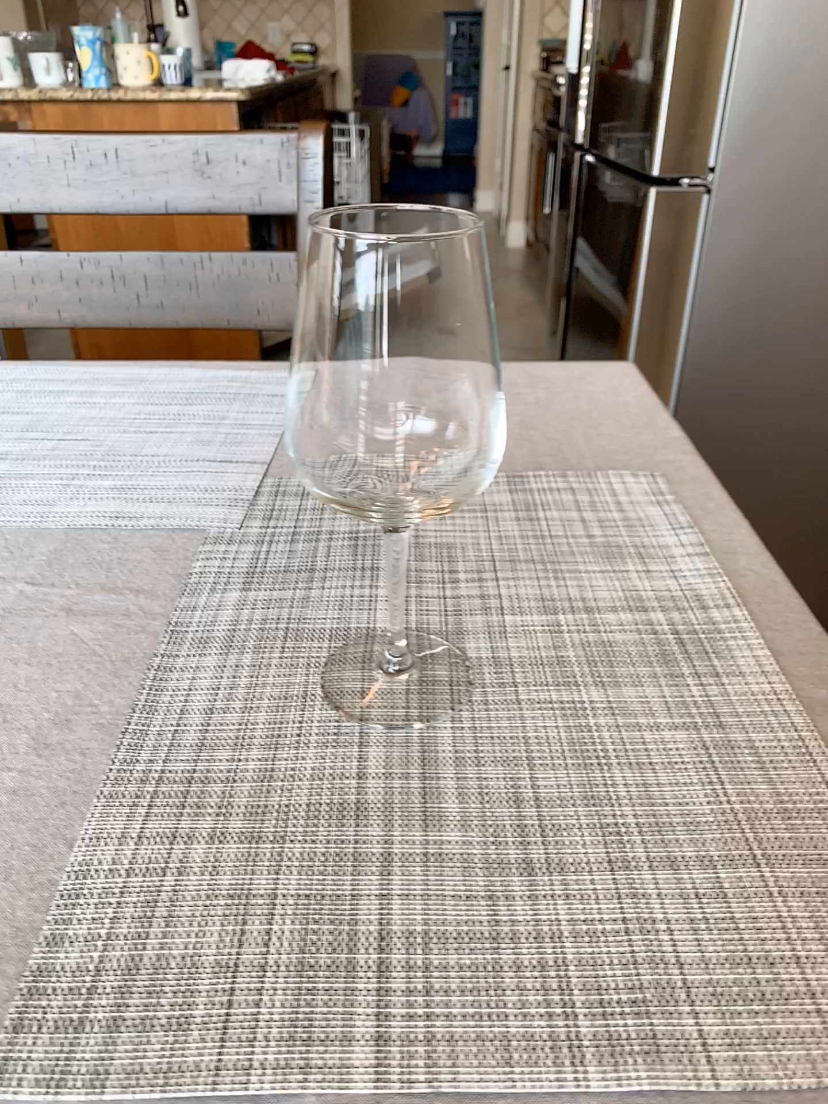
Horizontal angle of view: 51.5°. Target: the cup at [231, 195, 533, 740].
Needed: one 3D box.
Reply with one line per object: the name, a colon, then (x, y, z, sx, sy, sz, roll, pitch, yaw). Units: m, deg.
cup: (-0.009, -0.036, 0.383, 0.100, 0.214, 0.108, 0, 30, 0)
